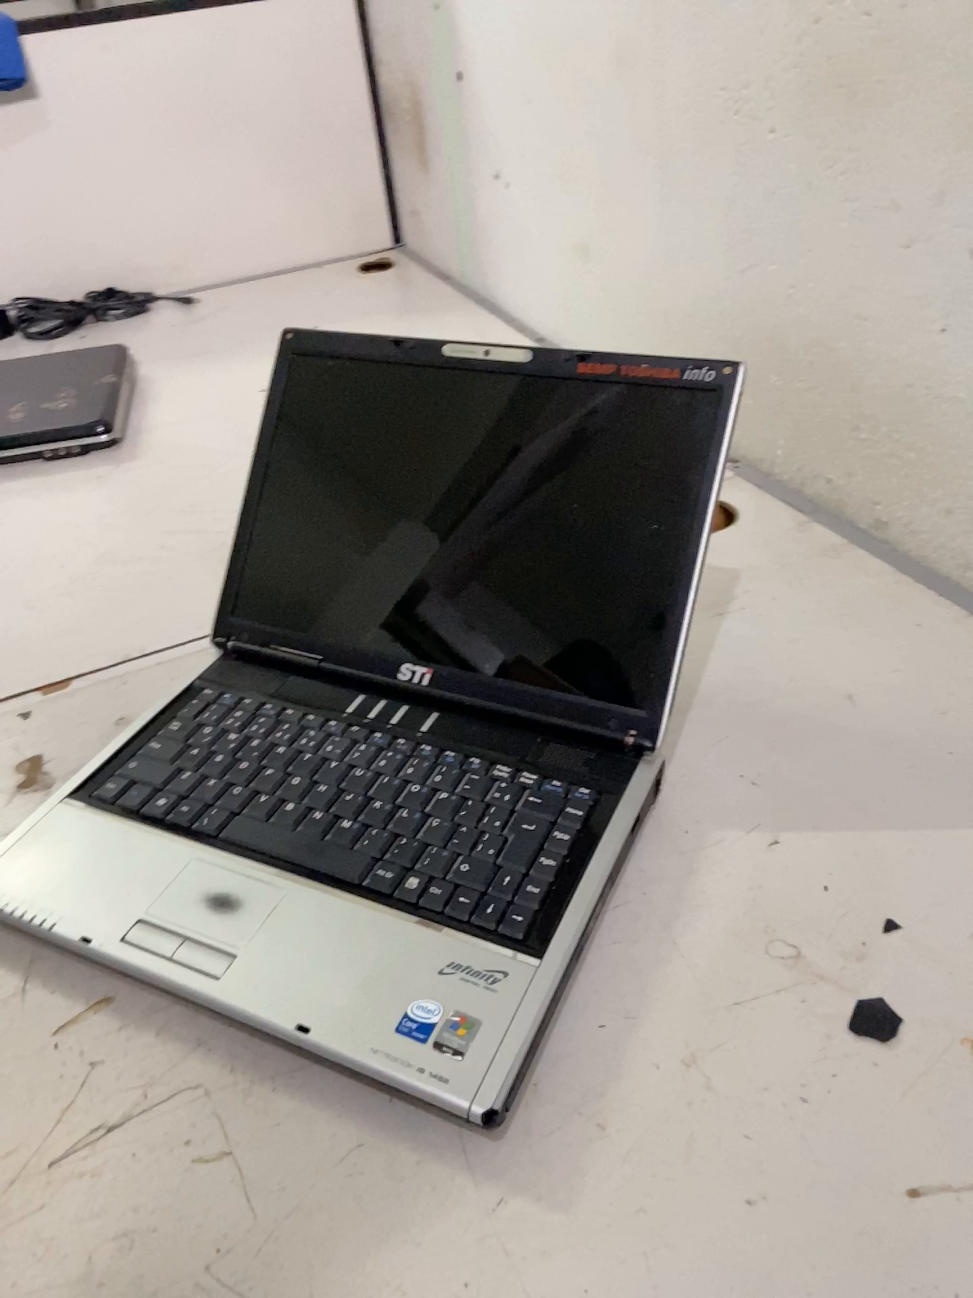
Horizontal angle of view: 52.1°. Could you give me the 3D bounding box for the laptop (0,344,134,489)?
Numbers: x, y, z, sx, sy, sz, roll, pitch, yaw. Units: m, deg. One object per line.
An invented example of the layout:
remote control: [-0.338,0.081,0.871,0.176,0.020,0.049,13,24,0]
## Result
laptop: [-0.571,-0.262,1.103,0.337,0.018,0.200,-9,41,-1]

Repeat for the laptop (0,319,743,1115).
laptop: [-0.069,-0.022,0.564,0.325,0.167,0.388,12,42,24]
